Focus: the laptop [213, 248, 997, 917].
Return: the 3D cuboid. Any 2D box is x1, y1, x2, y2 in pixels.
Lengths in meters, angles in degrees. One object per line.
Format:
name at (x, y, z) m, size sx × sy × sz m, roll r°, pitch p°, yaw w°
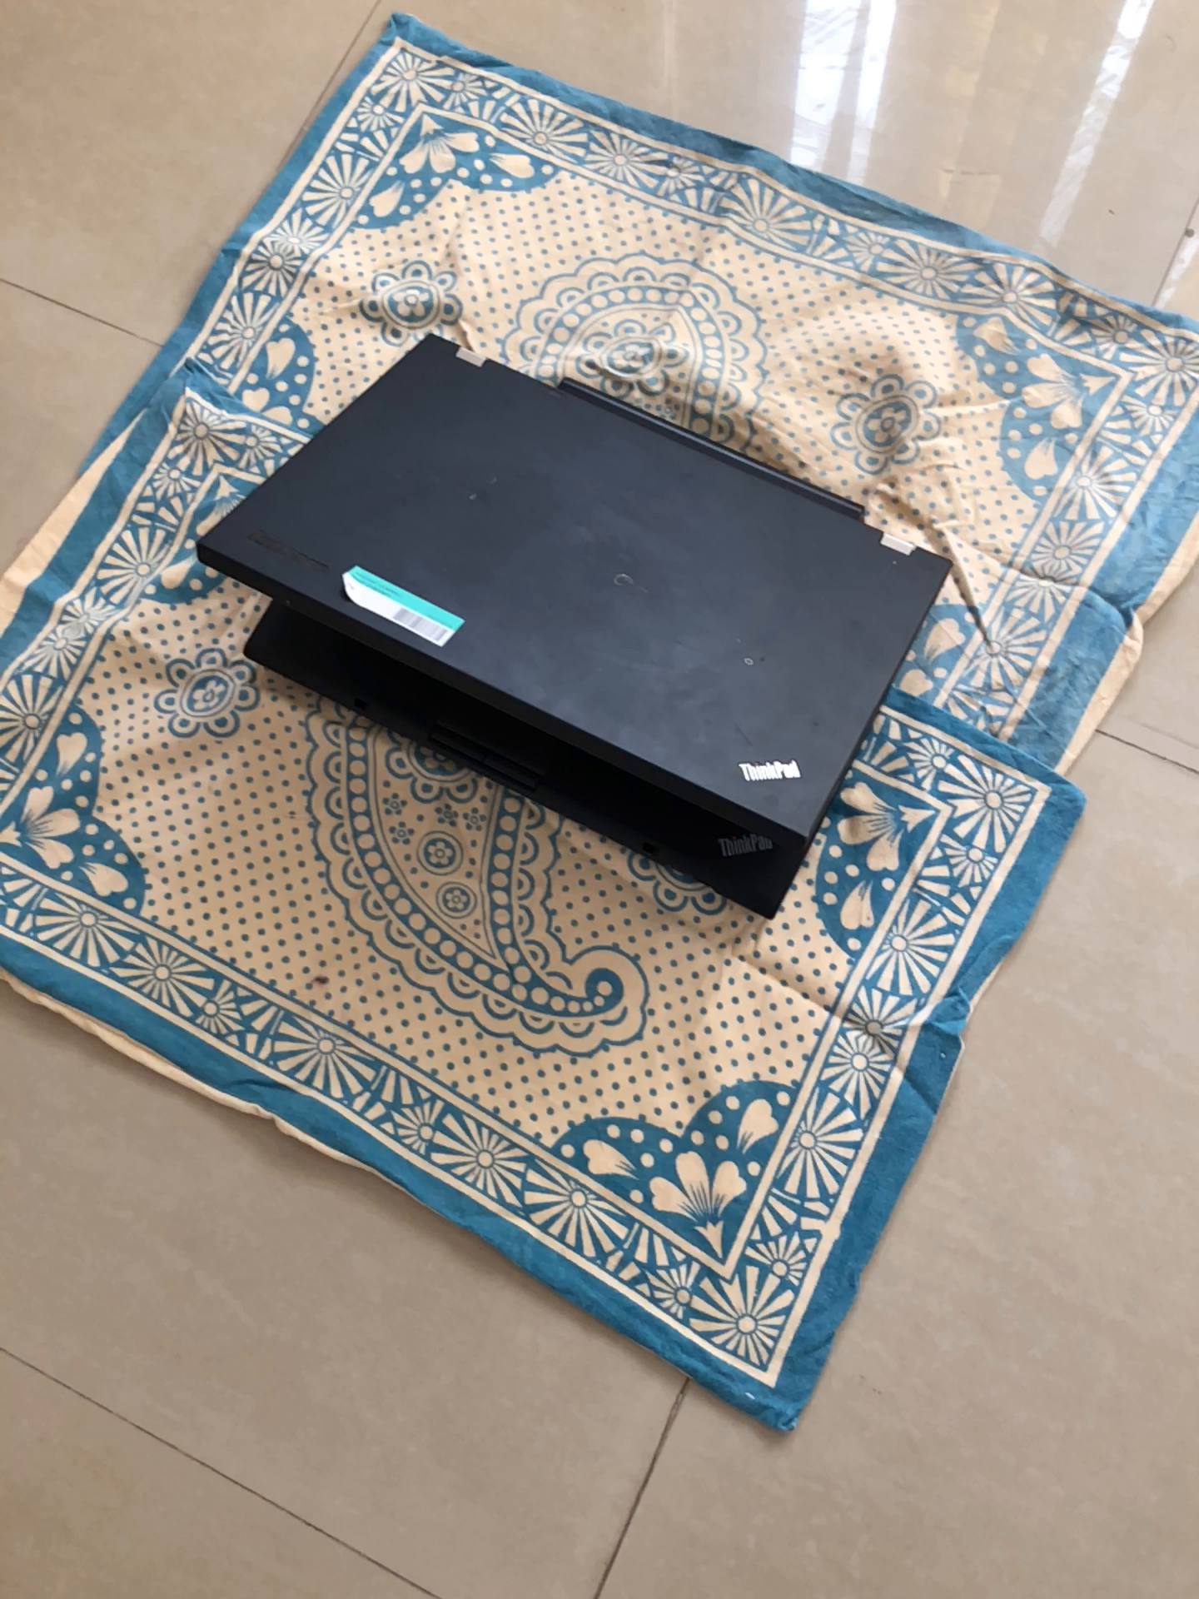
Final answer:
laptop at (0.001, -0.129, 0.757) m, size 0.347 × 0.125 × 0.241 m, roll 28°, pitch 77°, yaw 15°
